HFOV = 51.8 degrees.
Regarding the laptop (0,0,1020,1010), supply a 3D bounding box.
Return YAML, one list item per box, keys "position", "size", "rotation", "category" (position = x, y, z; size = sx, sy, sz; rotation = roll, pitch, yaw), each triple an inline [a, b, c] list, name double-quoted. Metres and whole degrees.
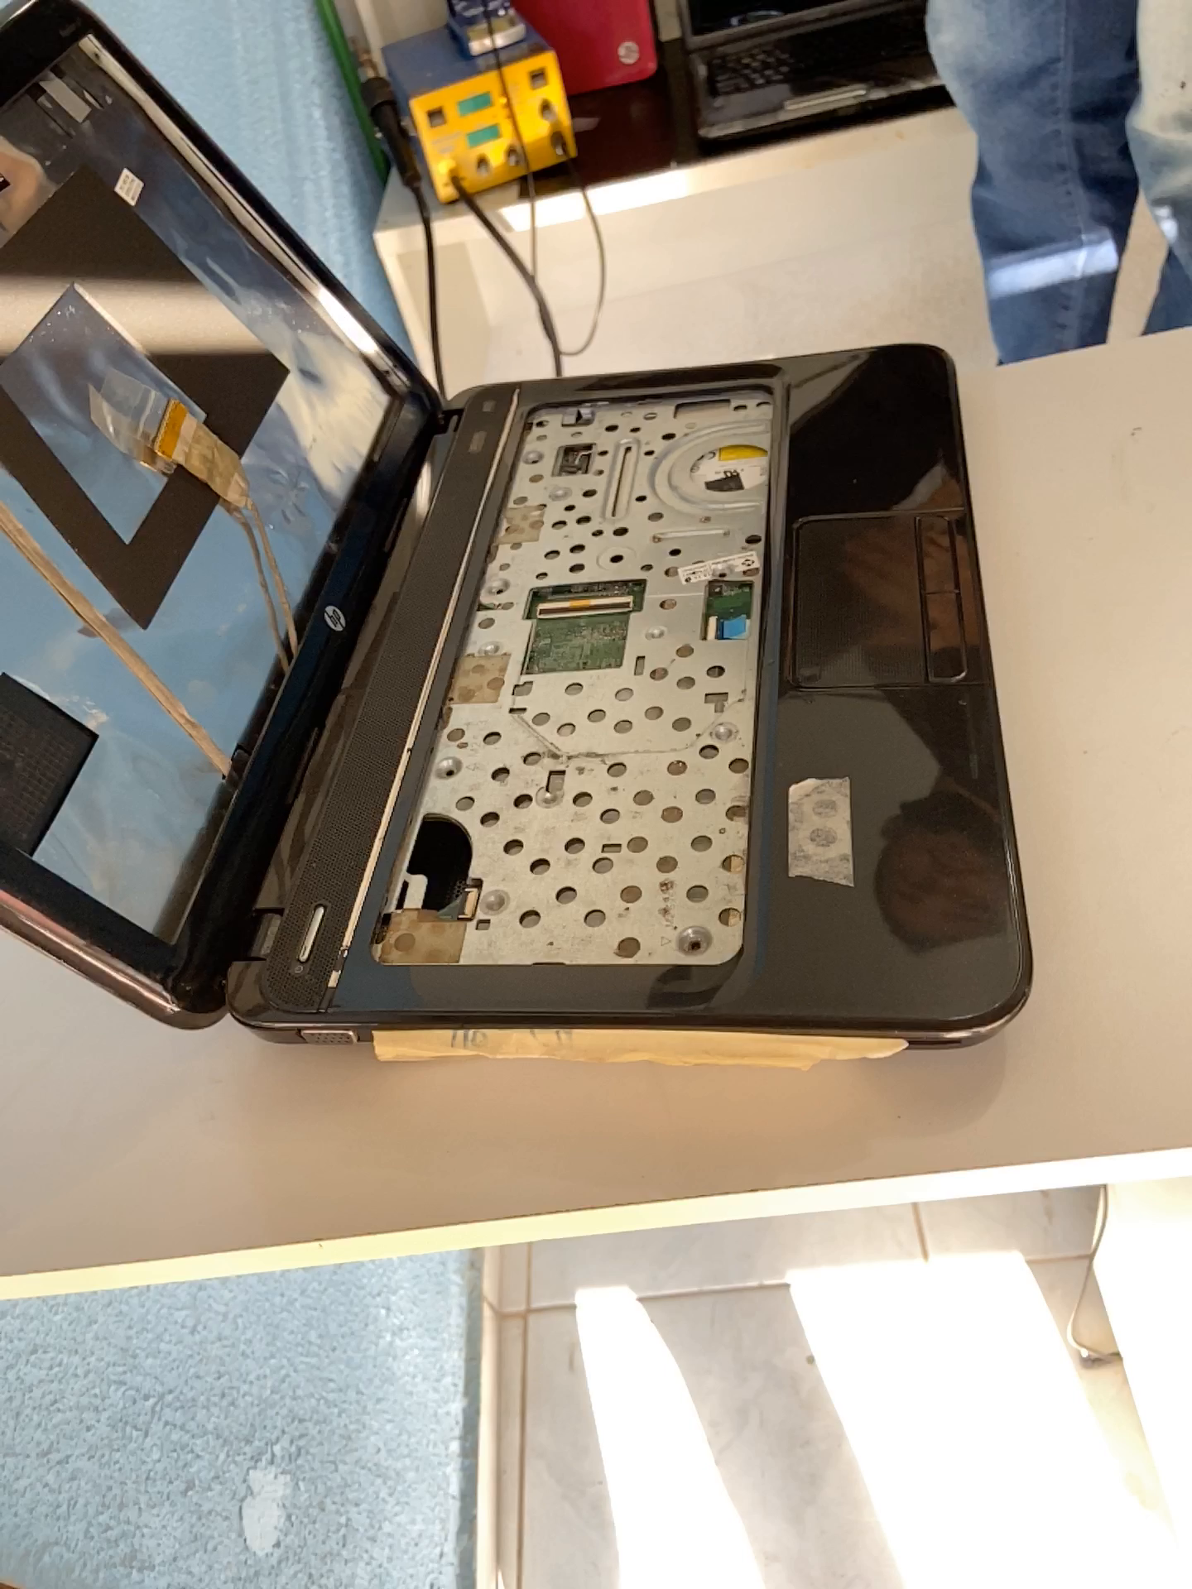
- position: [-0.055, -0.127, 0.388]
  size: [0.324, 0.186, 0.336]
  rotation: [-3, 47, 14]
  category: "laptop"
